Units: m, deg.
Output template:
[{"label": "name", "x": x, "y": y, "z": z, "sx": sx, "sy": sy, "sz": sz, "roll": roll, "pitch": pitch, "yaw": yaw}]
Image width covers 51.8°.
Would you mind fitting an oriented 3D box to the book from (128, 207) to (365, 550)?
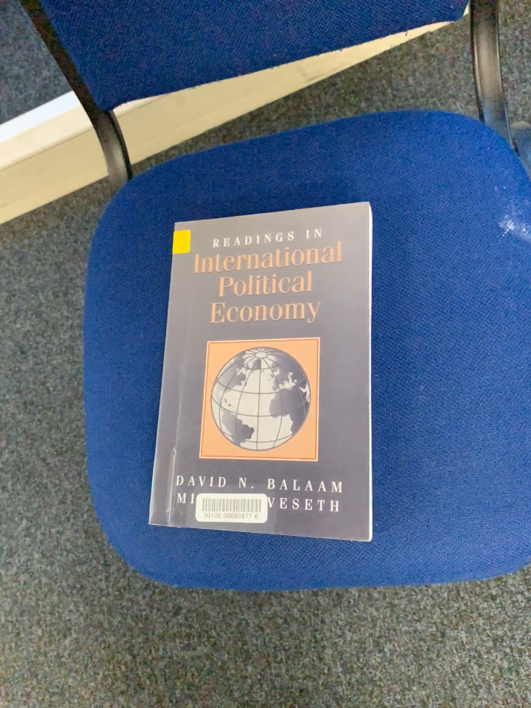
[{"label": "book", "x": -0.009, "y": 0.013, "z": 0.378, "sx": 0.150, "sy": 0.030, "sz": 0.220, "roll": -2, "pitch": 75, "yaw": 15}]
